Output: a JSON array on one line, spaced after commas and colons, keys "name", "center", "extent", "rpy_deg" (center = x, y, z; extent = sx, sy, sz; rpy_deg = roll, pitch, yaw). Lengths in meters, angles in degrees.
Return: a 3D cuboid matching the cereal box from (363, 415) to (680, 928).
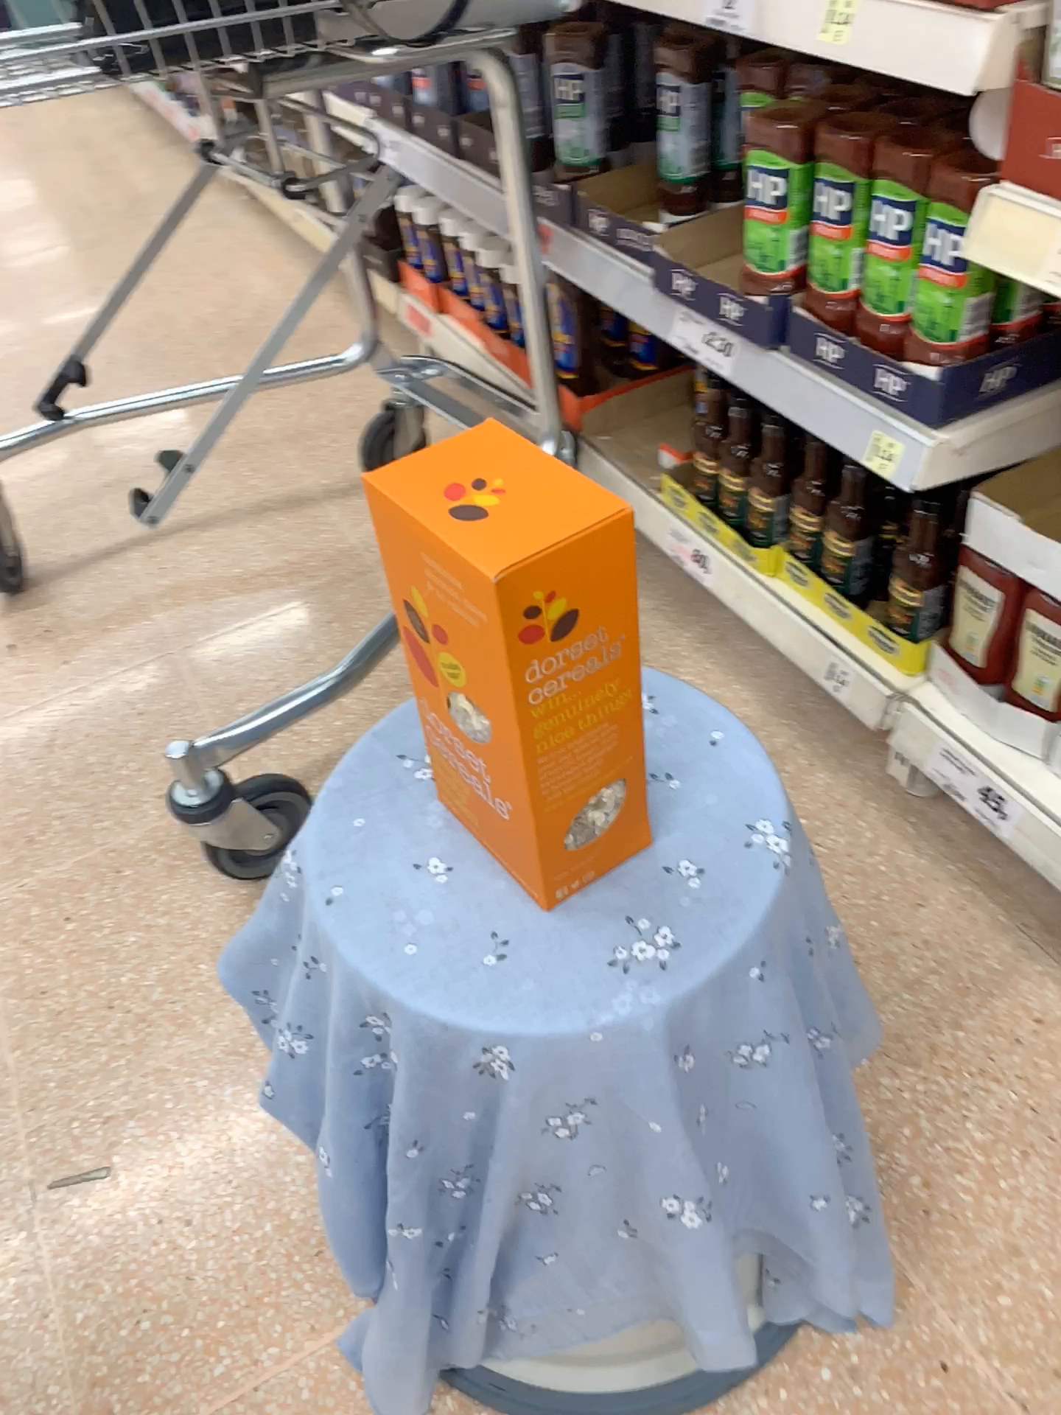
[{"name": "cereal box", "center": [0.003, -0.014, 0.571], "extent": [0.090, 0.228, 0.121], "rpy_deg": [-31, 47, -23]}]
